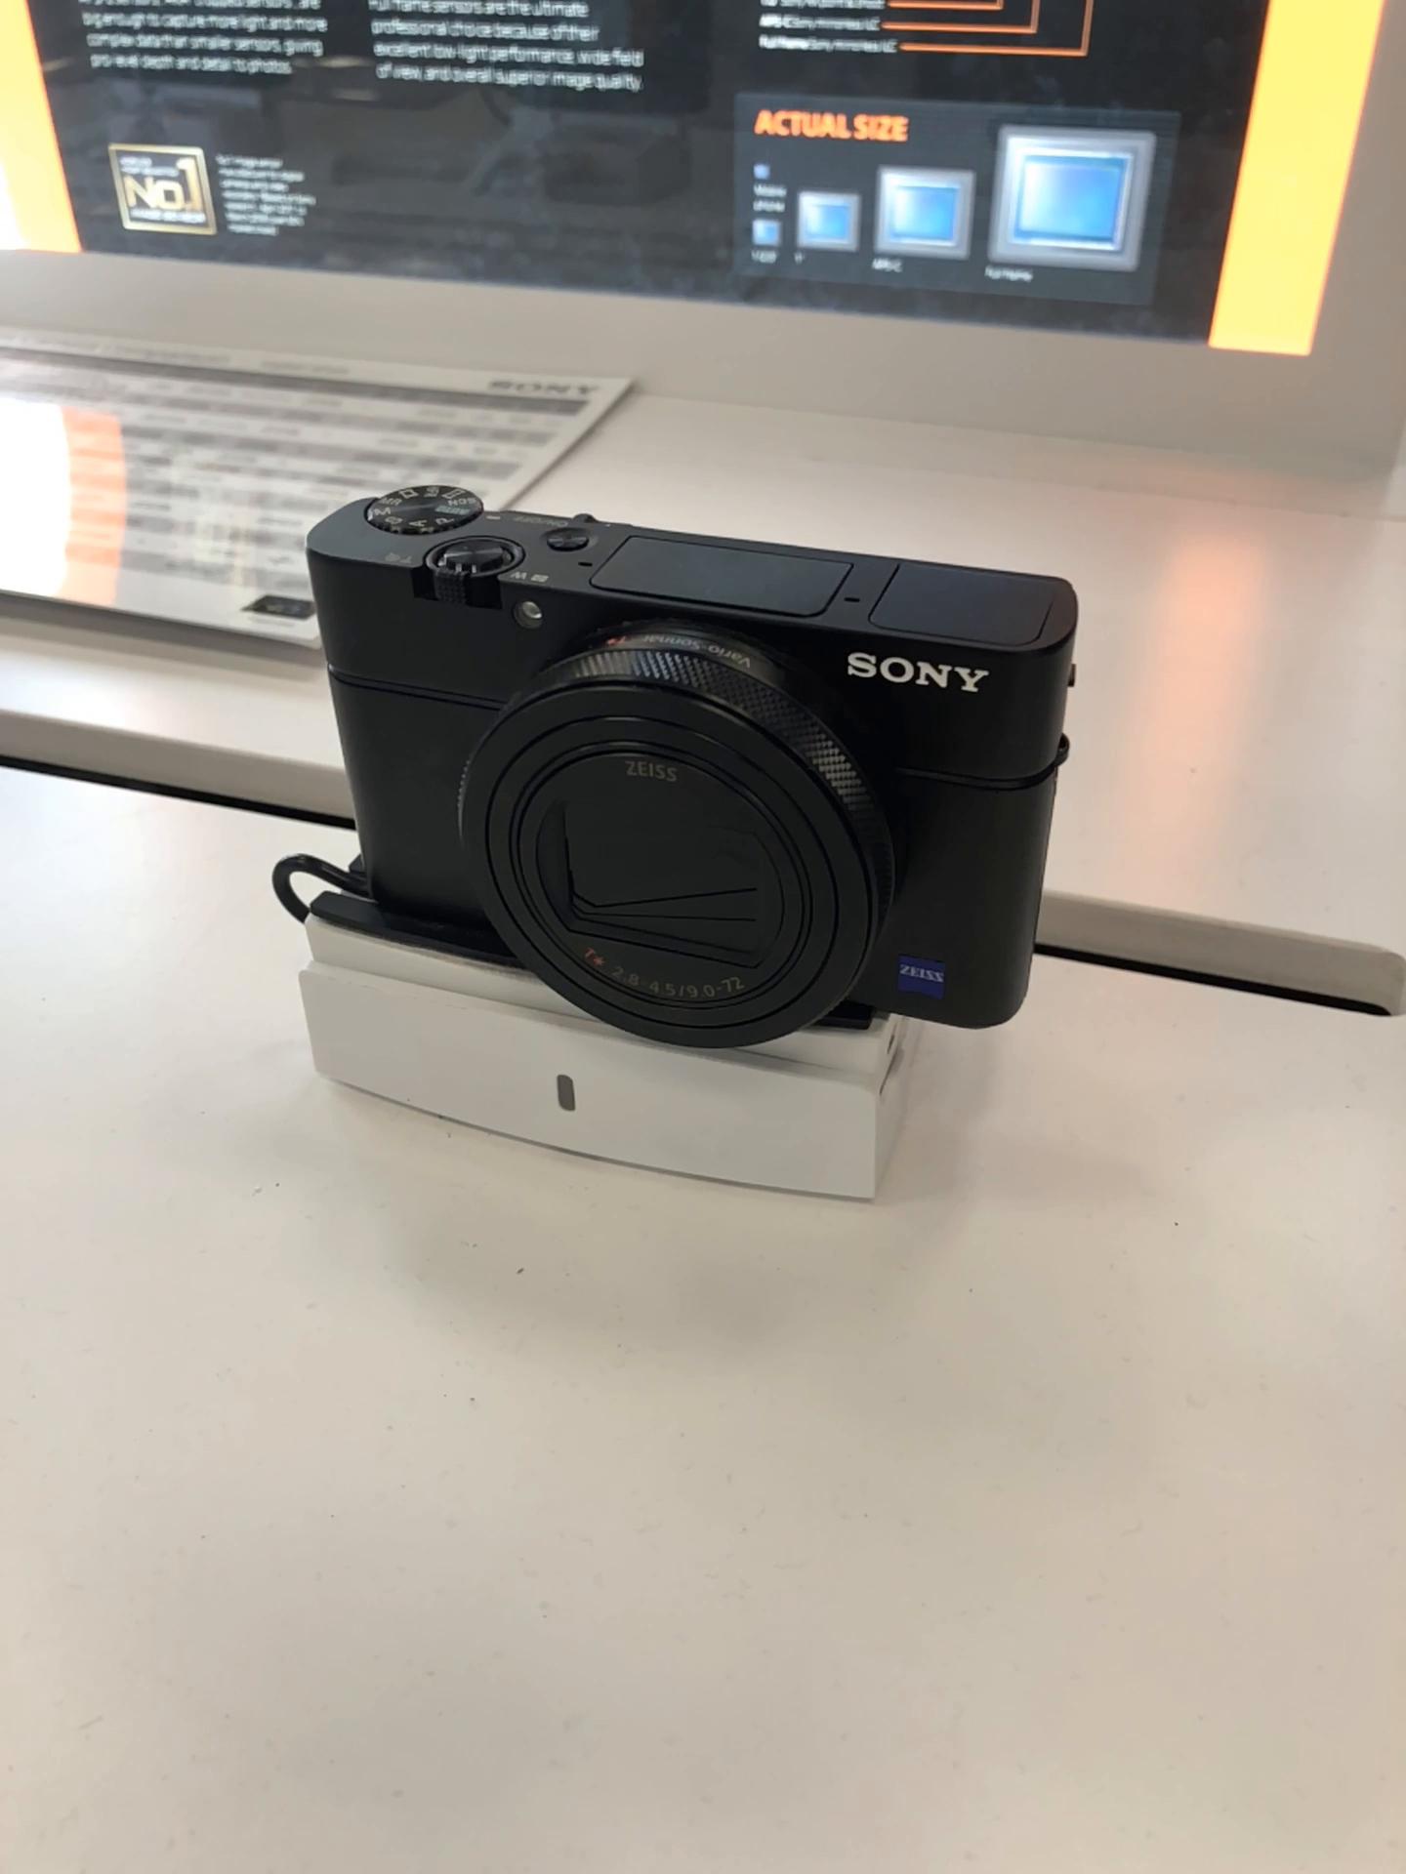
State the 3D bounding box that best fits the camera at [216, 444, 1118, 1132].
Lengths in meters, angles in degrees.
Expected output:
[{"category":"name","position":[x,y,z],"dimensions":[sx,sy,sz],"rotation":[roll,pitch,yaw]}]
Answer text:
[{"category":"camera","position":[-0.004,-0.023,0.225],"dimensions":[0.110,0.070,0.040],"rotation":[11,38,16]}]
